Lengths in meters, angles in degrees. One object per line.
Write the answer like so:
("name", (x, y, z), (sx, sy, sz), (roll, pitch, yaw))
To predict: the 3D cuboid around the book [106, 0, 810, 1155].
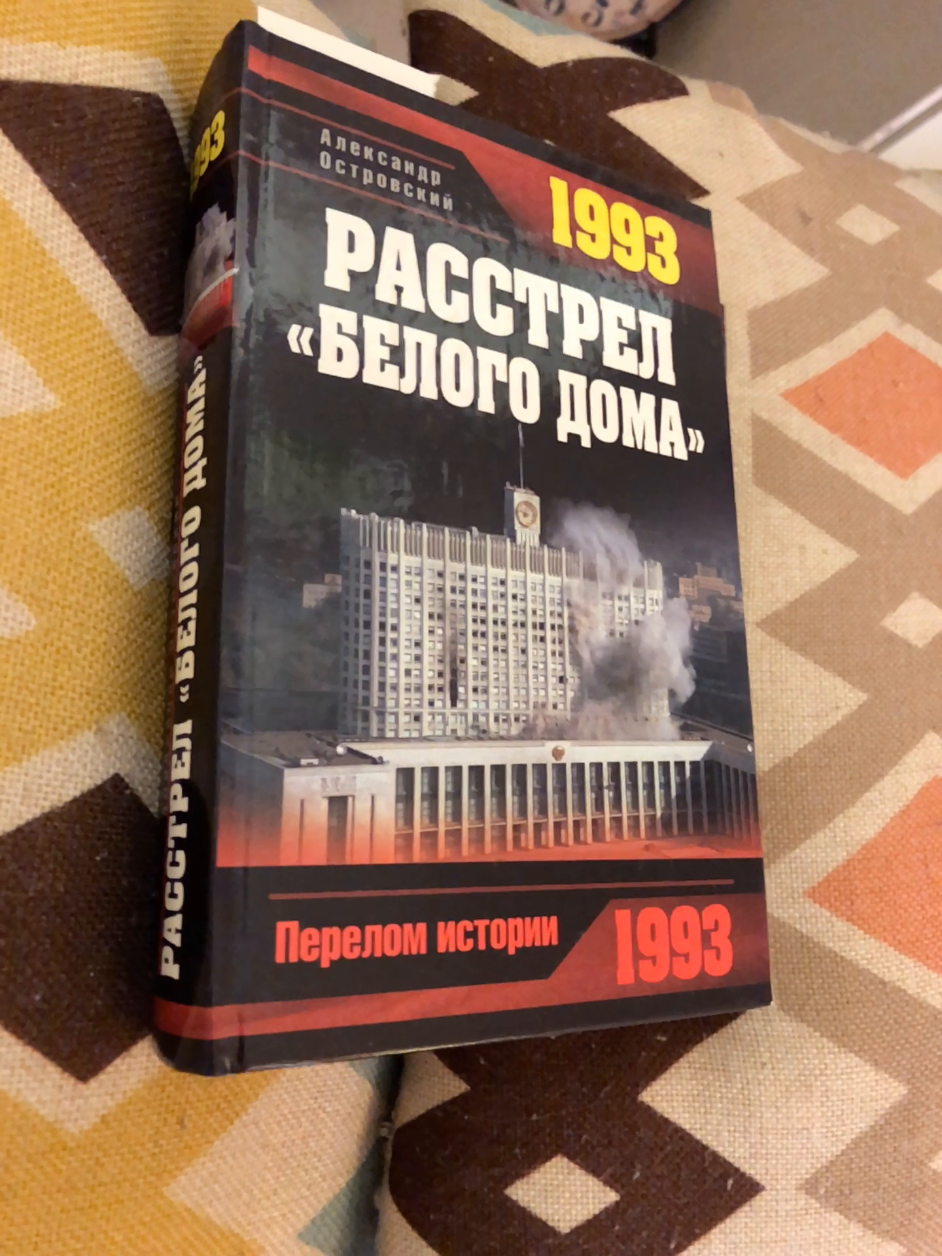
("book", (0.004, -0.013, 0.228), (0.141, 0.030, 0.210), (7, 75, -29))
